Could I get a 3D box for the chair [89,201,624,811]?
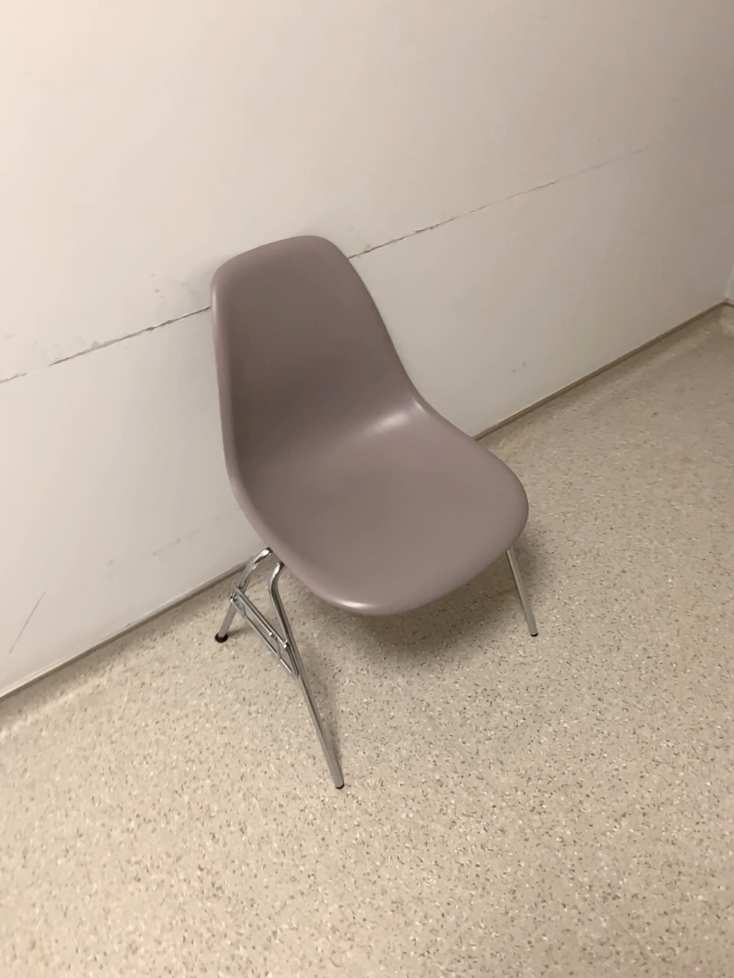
[{"bbox_3d":[-0.016,0.019,1.361,0.582,0.783,0.543,-29,48,-26],"label":"chair"}]
